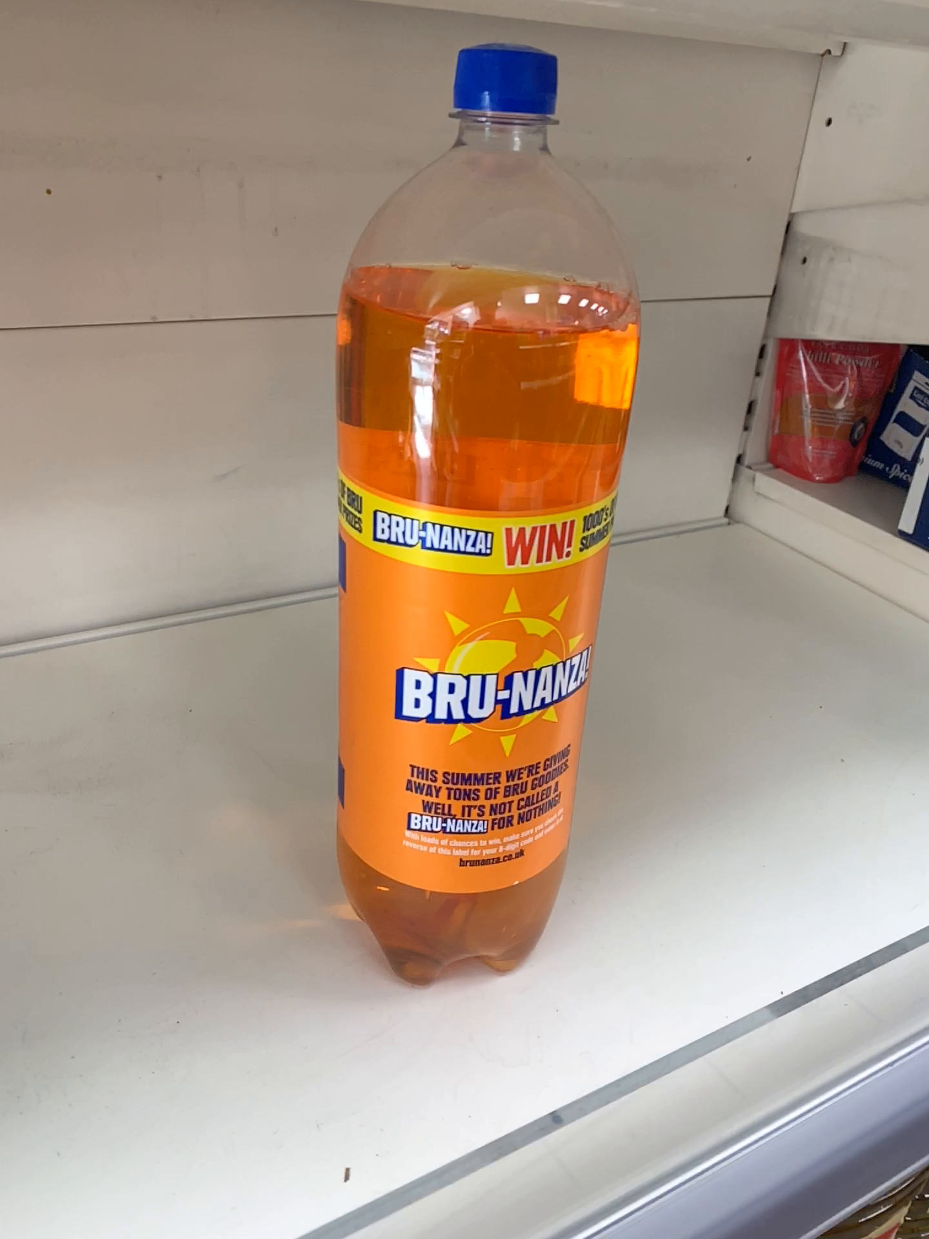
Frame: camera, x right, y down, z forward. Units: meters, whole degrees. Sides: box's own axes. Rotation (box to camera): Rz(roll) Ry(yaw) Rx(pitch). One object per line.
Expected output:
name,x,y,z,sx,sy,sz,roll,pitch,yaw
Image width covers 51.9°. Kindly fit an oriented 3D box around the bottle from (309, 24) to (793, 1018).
bottle,0.005,-0.020,0.350,0.110,0.327,0.111,3,29,-2
